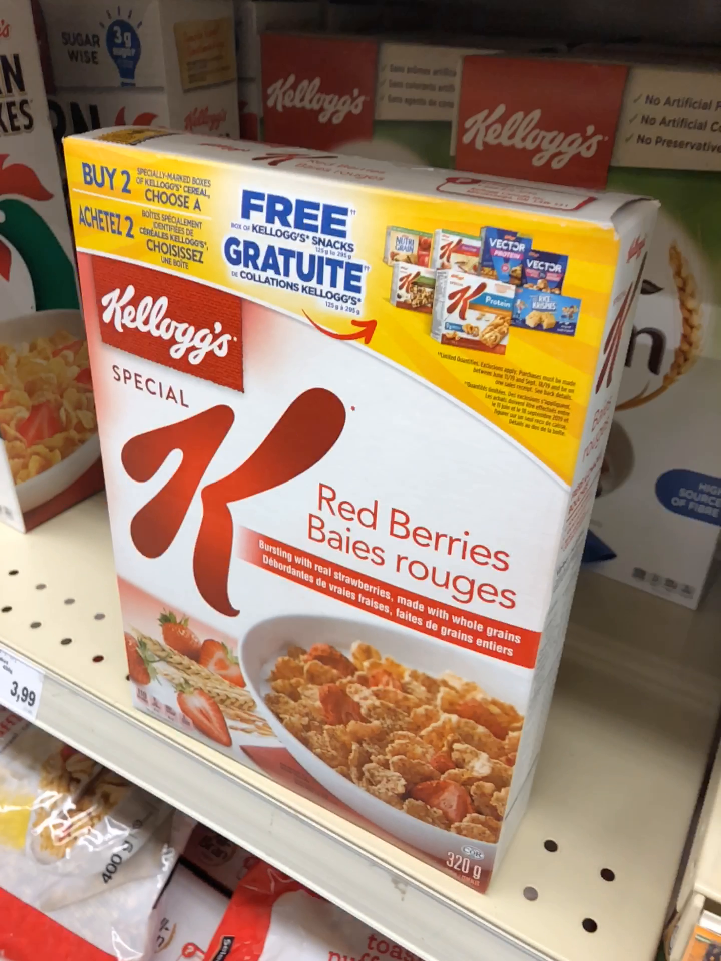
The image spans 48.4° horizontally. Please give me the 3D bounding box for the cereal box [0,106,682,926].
[{"bbox_3d":[-0.019,0.015,0.282,0.190,0.248,0.050,18,35,25],"label":"cereal box"}]
